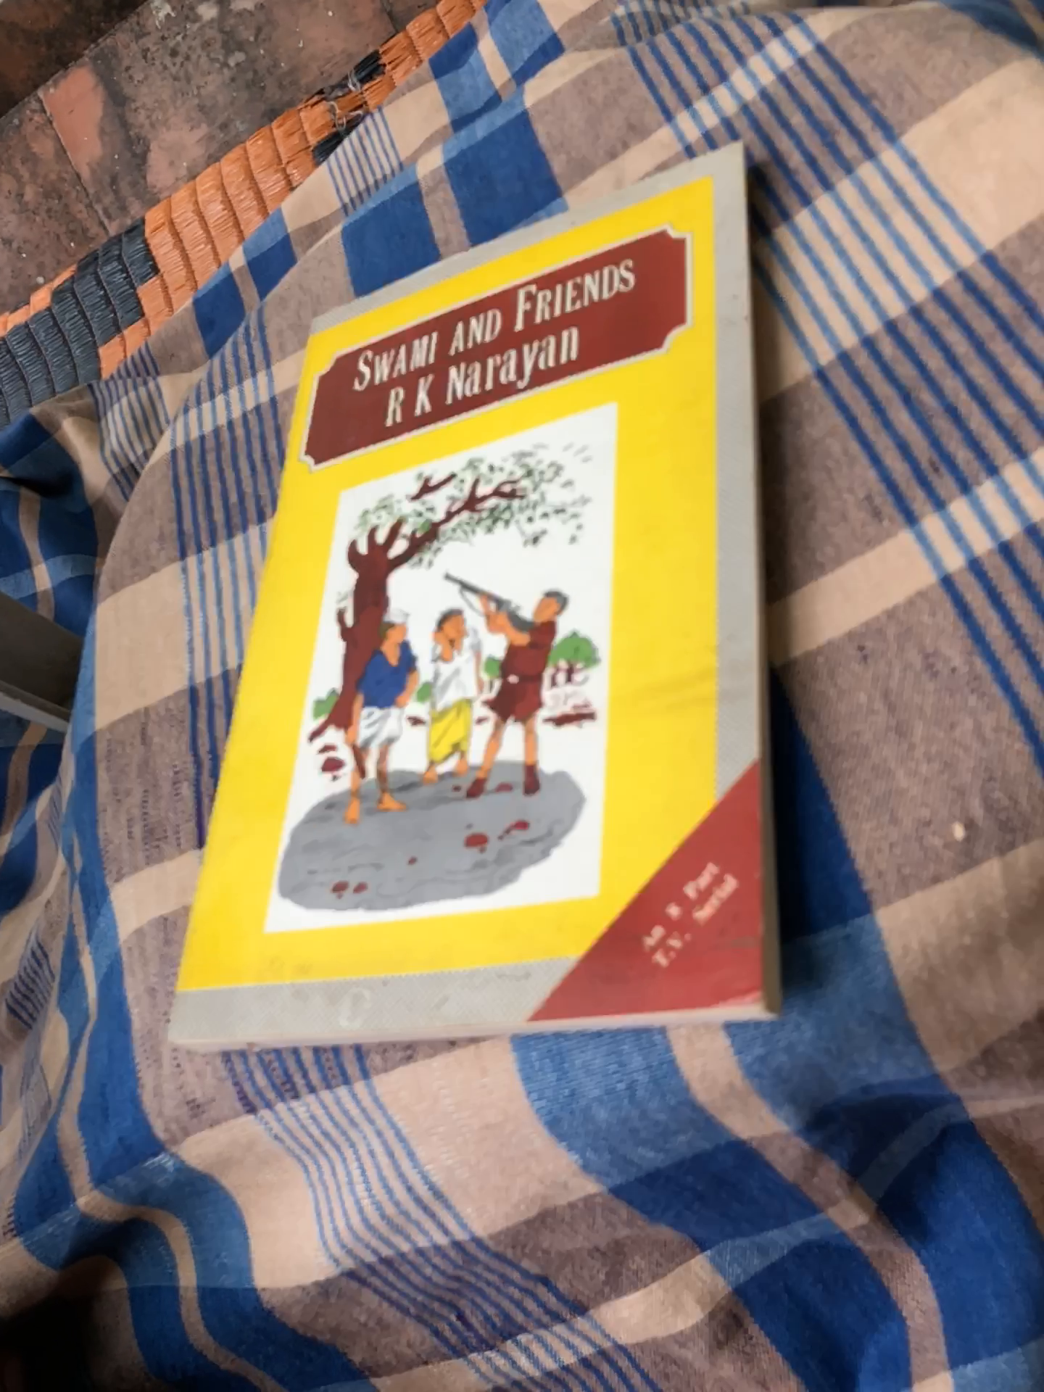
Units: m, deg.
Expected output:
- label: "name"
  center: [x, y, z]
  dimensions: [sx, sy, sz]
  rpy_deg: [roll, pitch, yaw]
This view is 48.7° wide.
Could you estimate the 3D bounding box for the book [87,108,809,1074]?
- label: "book"
  center: [-0.012, -0.024, 0.235]
  dimensions: [0.130, 0.020, 0.190]
  rpy_deg: [-11, 58, 28]
